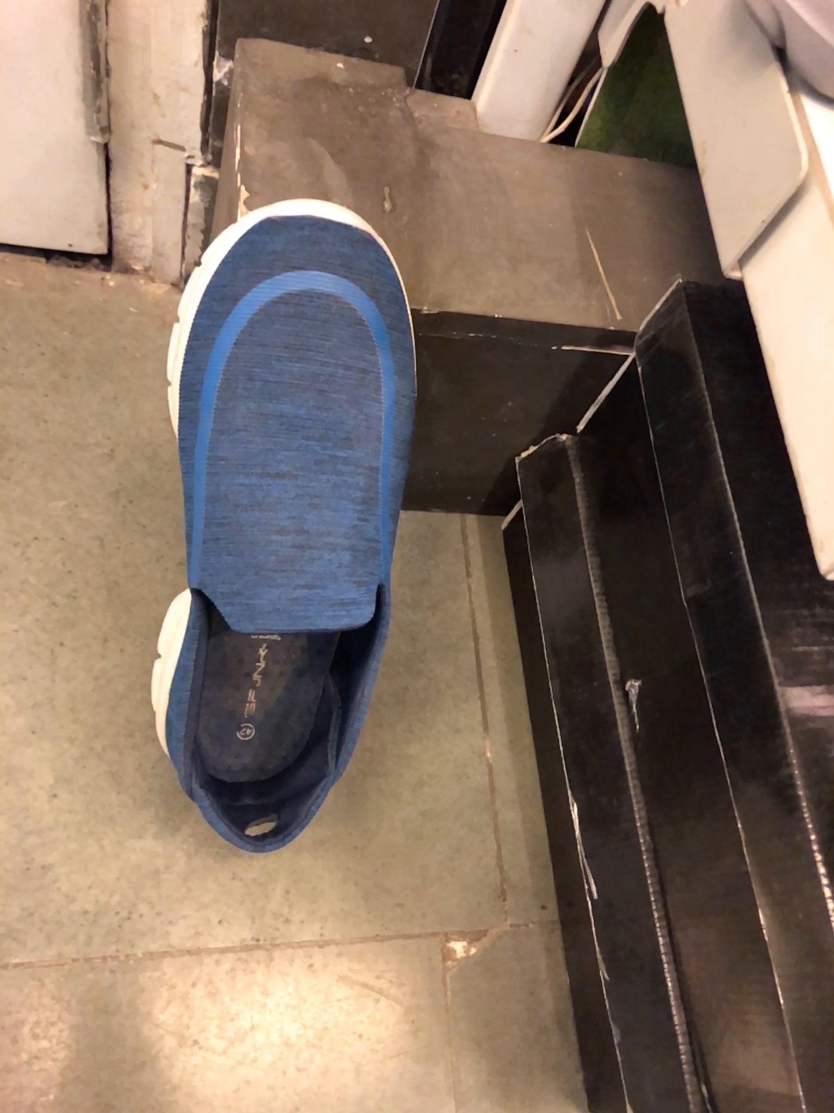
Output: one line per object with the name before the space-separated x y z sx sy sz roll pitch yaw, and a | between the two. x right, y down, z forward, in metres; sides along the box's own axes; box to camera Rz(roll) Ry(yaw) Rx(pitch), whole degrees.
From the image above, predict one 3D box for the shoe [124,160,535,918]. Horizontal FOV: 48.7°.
shoe | -0.050 -0.002 0.370 0.111 0.271 0.095 3 20 -19
